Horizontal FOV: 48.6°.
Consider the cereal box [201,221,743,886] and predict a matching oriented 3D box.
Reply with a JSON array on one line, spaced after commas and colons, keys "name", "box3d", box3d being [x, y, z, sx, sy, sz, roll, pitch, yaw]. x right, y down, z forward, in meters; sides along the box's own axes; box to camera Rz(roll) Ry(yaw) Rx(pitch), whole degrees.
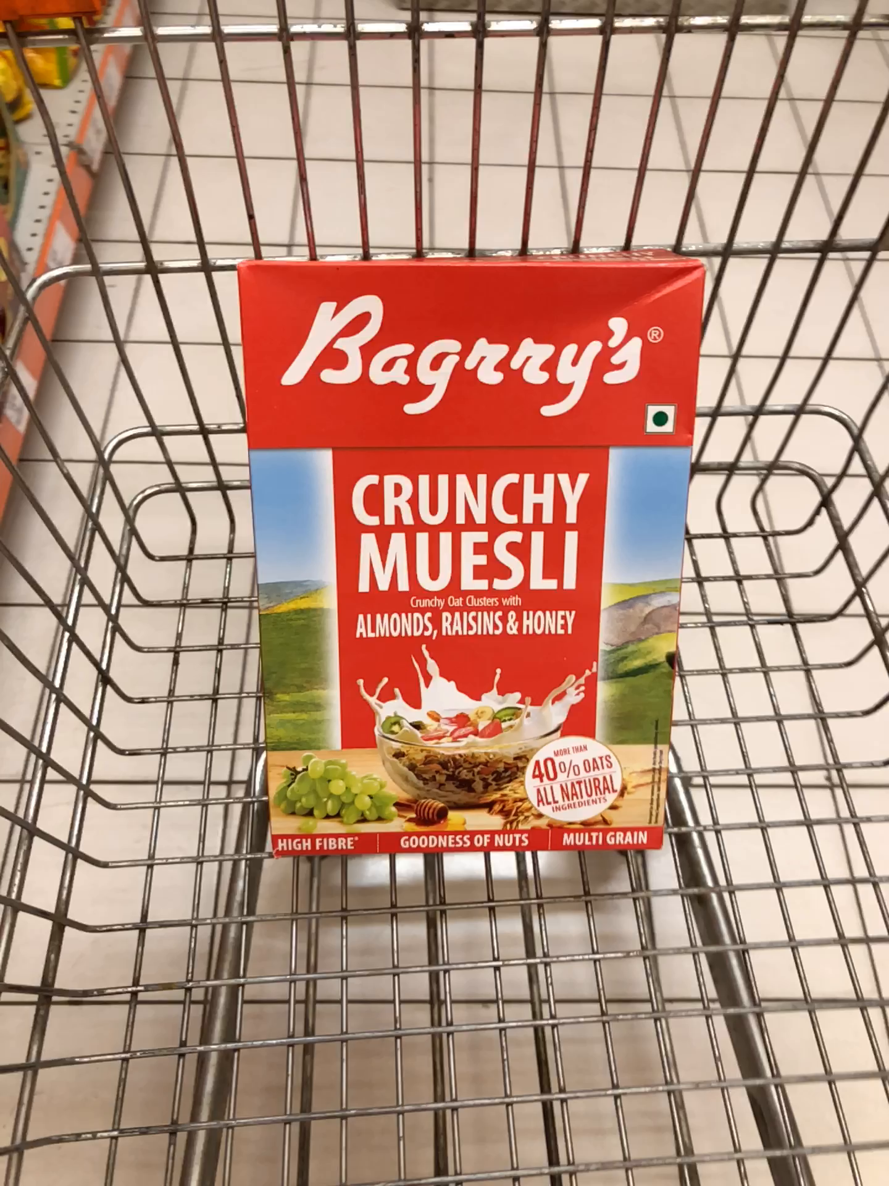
[{"name": "cereal box", "box3d": [0.009, -0.010, 0.424, 0.190, 0.279, 0.060, -1, 22, -3]}]
